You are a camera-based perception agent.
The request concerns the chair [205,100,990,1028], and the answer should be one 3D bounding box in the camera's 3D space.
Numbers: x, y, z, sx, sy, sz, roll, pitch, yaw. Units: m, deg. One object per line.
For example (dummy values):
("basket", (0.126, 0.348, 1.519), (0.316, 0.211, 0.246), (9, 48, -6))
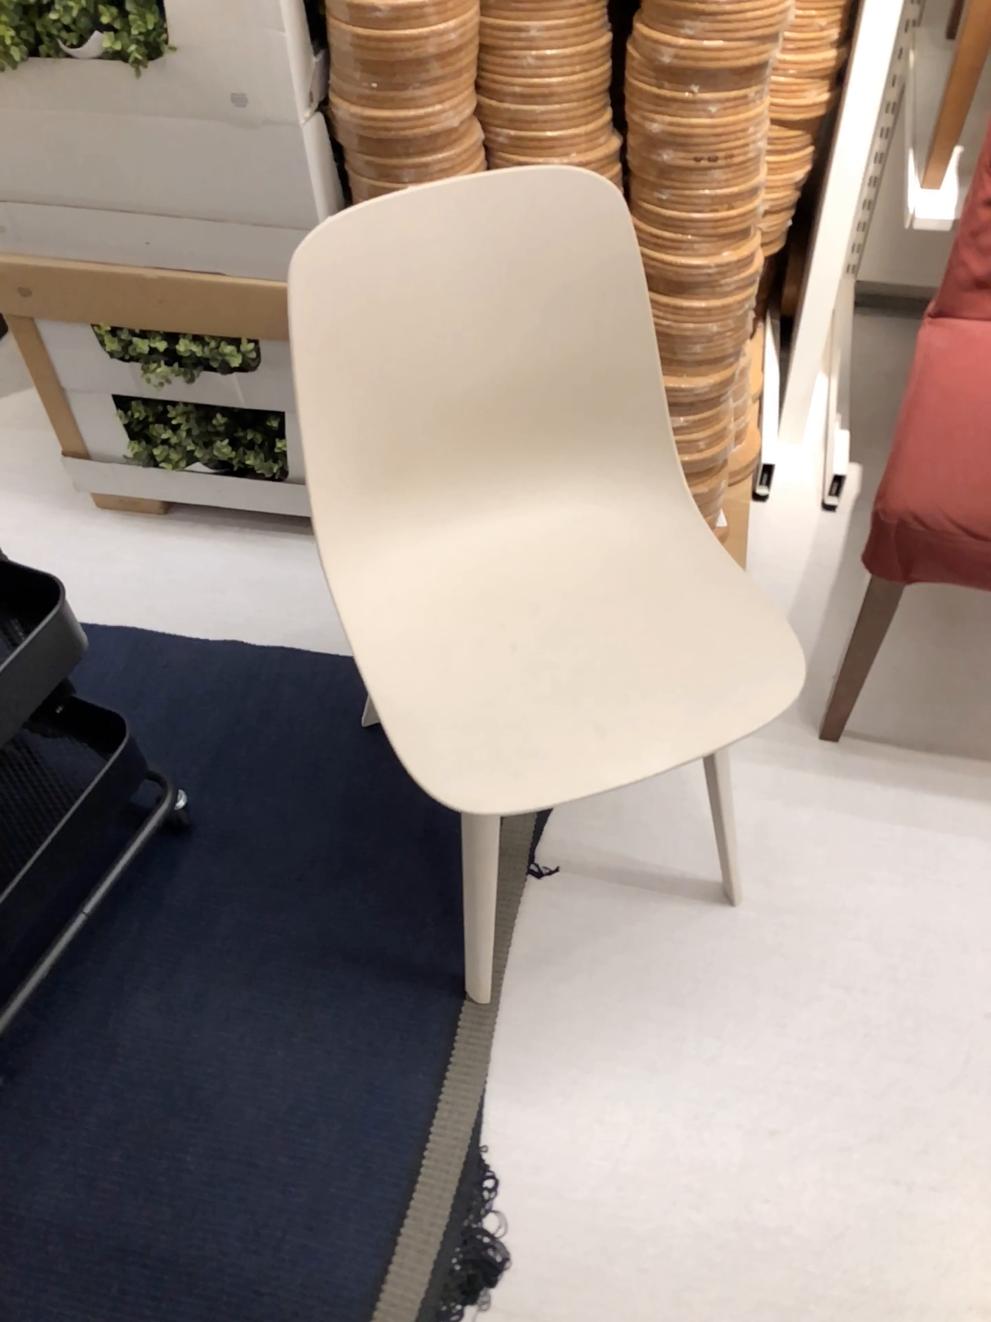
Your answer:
("chair", (0.069, -0.063, 1.101), (0.450, 0.696, 0.492), (-19, 53, -11))
